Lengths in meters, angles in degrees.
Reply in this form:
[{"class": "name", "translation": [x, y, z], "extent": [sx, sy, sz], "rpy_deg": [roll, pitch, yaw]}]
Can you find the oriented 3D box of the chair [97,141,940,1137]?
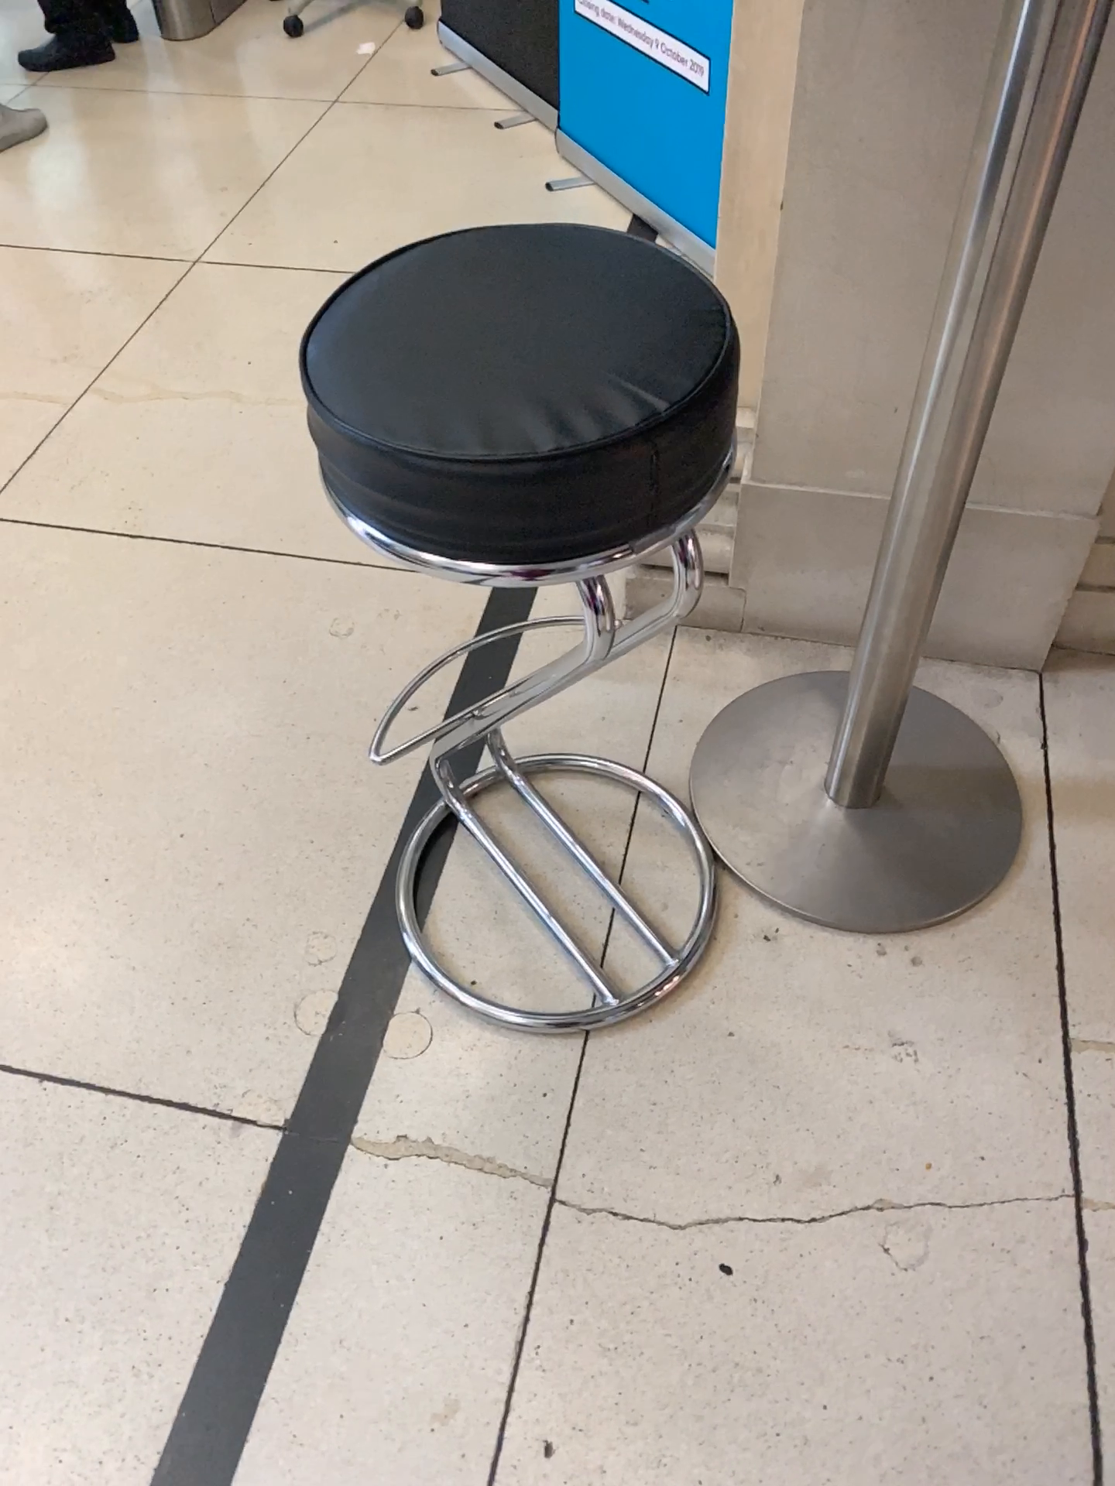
[{"class": "chair", "translation": [-0.030, -0.074, 1.210], "extent": [0.465, 0.813, 0.506], "rpy_deg": [-33, 55, -22]}]
